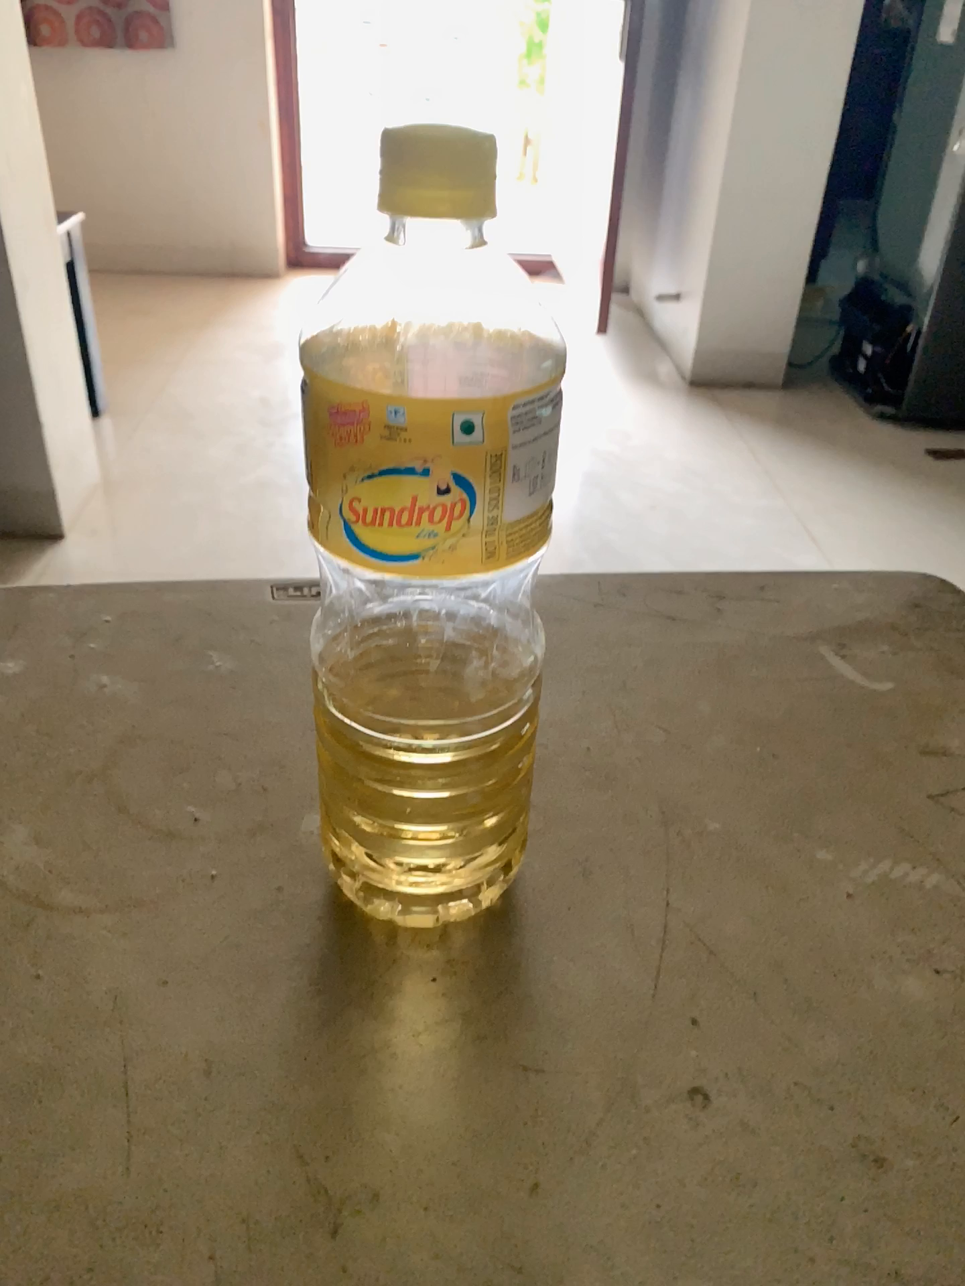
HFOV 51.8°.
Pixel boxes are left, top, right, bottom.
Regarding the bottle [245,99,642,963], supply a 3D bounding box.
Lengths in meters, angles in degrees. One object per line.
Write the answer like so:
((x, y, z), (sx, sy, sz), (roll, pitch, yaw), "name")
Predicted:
((-0.010, -0.023, 0.334), (0.090, 0.269, 0.090), (2, 33, -2), "bottle")
